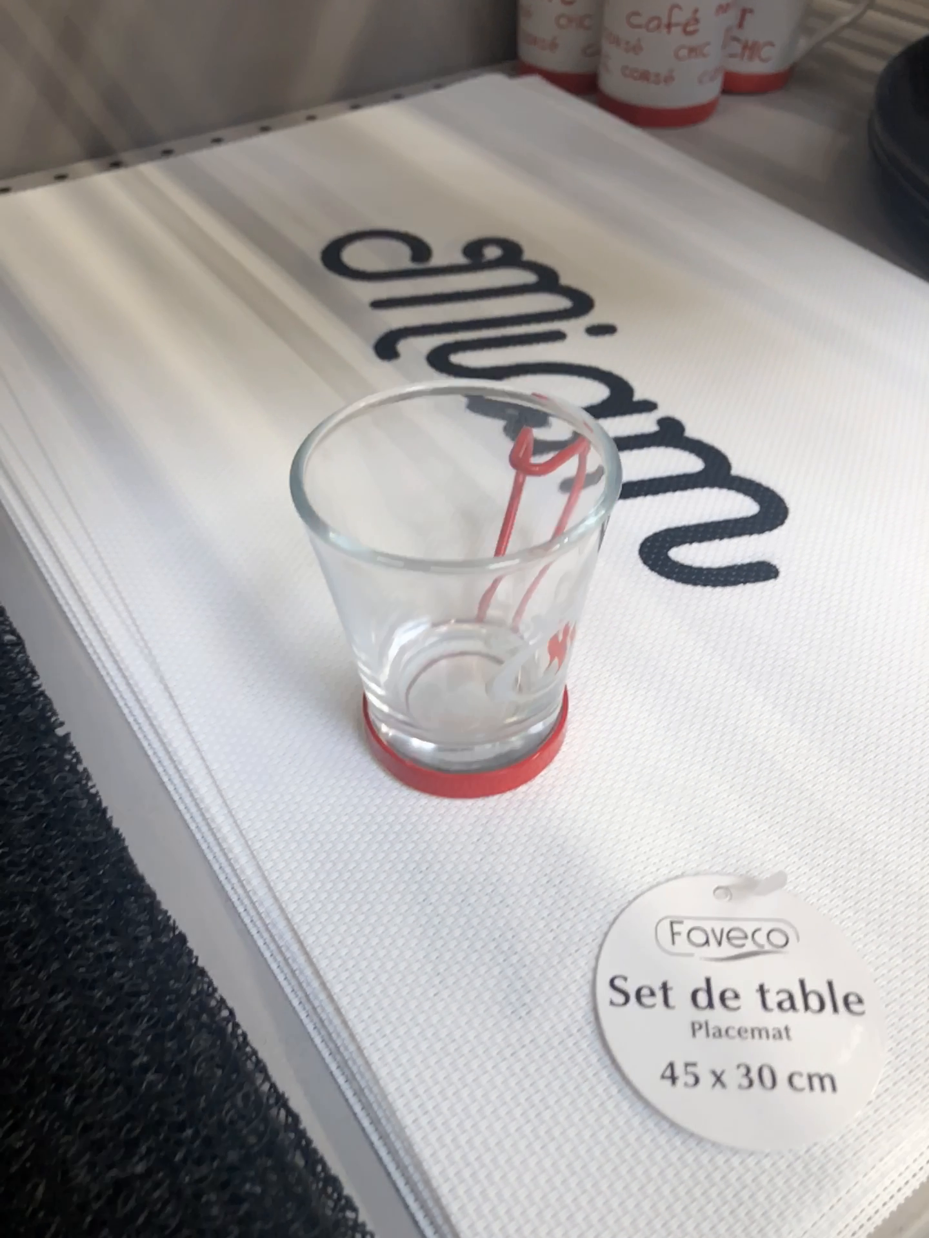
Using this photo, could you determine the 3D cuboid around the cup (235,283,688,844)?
[{"bbox_3d":[0.006,-0.016,0.214,0.056,0.063,0.093,12,45,16],"label":"cup"}]
